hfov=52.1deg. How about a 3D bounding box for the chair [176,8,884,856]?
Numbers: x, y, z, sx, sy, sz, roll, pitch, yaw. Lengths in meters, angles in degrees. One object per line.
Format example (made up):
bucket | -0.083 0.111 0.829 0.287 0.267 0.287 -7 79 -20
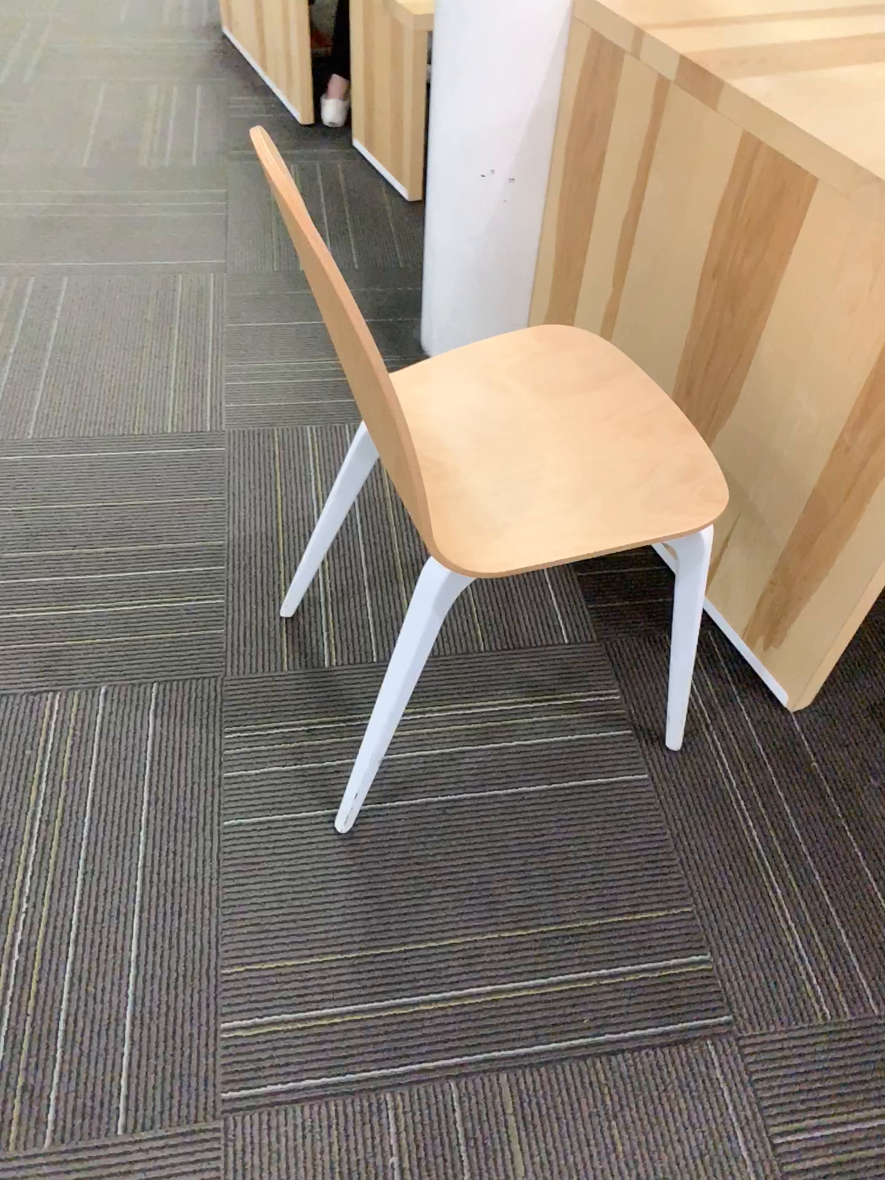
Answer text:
chair | 0.055 -0.159 1.117 0.550 0.816 0.502 -13 51 -15
